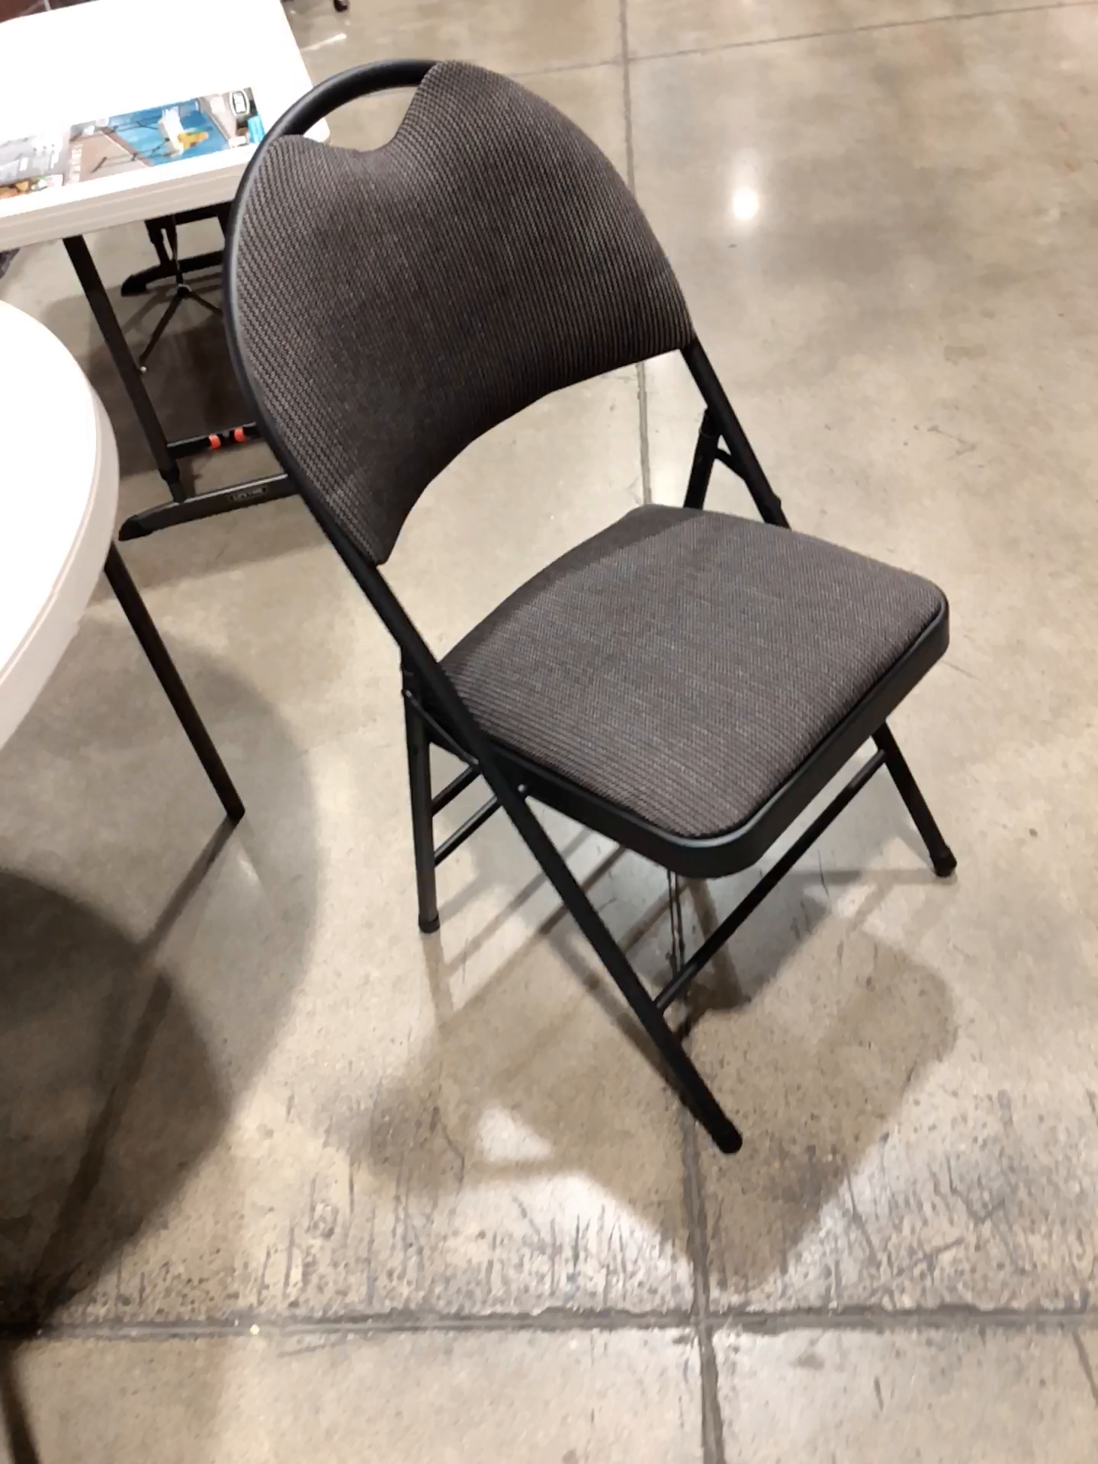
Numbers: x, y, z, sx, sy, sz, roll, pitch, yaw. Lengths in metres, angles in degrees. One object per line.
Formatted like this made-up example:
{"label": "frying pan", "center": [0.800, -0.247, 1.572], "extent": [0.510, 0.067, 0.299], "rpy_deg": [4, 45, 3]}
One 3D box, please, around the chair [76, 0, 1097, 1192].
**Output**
{"label": "chair", "center": [0.093, -0.130, 1.119], "extent": [0.561, 0.857, 0.510], "rpy_deg": [31, 57, 34]}
